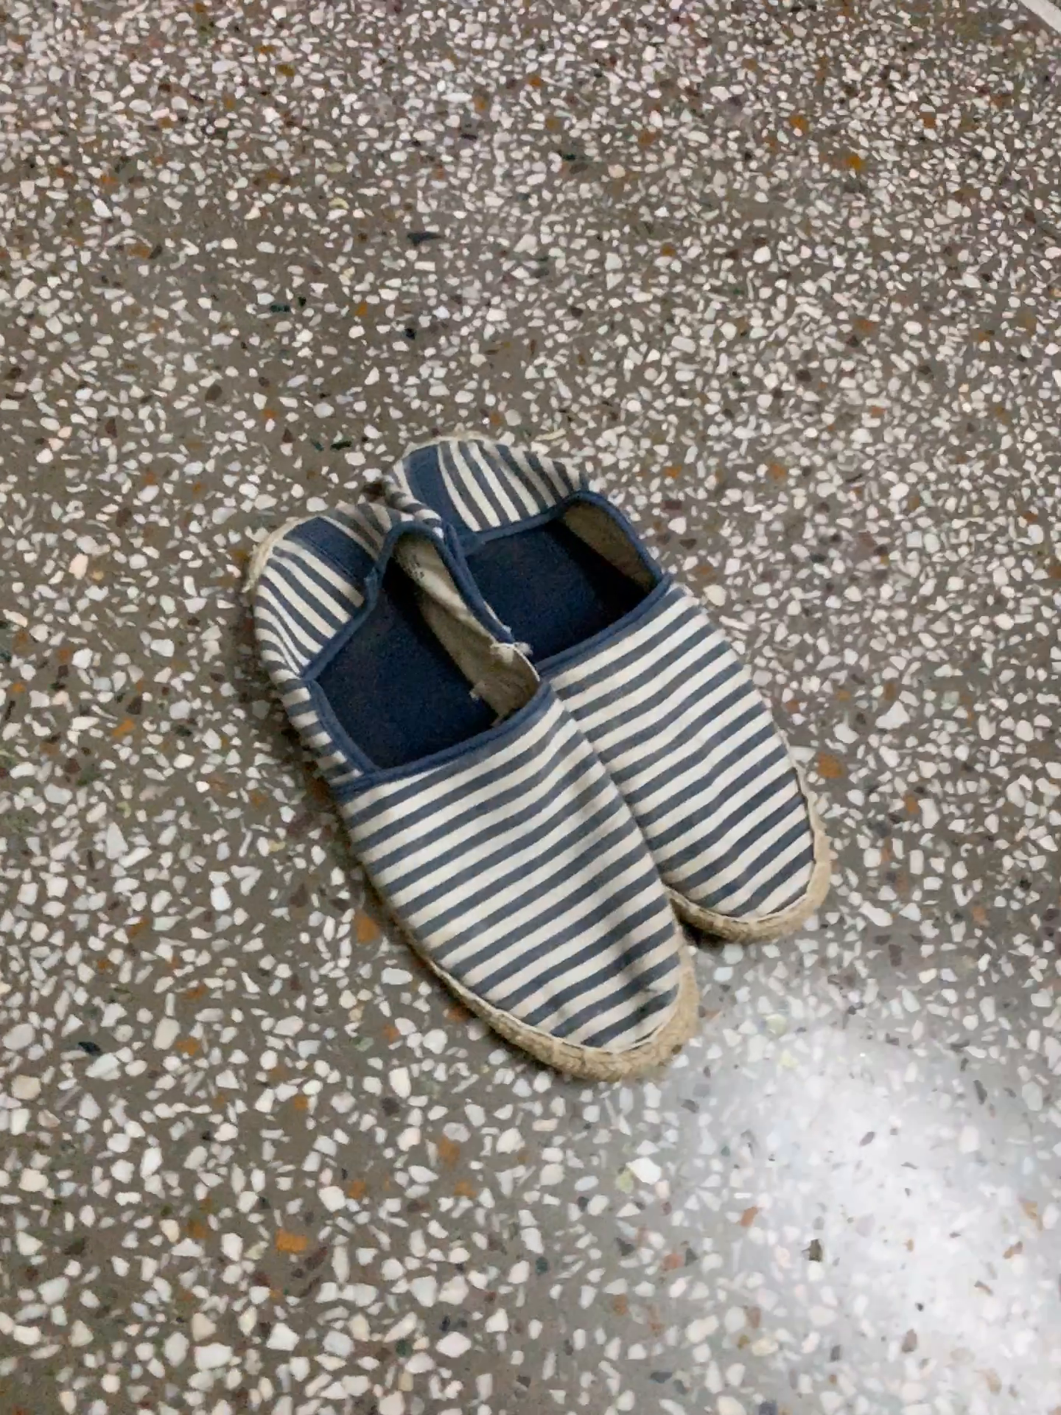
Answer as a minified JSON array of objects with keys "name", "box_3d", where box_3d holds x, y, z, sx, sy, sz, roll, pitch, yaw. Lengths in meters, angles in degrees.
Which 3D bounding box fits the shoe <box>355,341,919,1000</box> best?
[{"name":"shoe","box_3d":[0.036,-0.026,0.491,0.100,0.050,0.290,-28,74,-17]}]

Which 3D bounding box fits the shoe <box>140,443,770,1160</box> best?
[{"name":"shoe","box_3d":[-0.038,0.030,0.454,0.100,0.050,0.290,-33,75,-18]}]
